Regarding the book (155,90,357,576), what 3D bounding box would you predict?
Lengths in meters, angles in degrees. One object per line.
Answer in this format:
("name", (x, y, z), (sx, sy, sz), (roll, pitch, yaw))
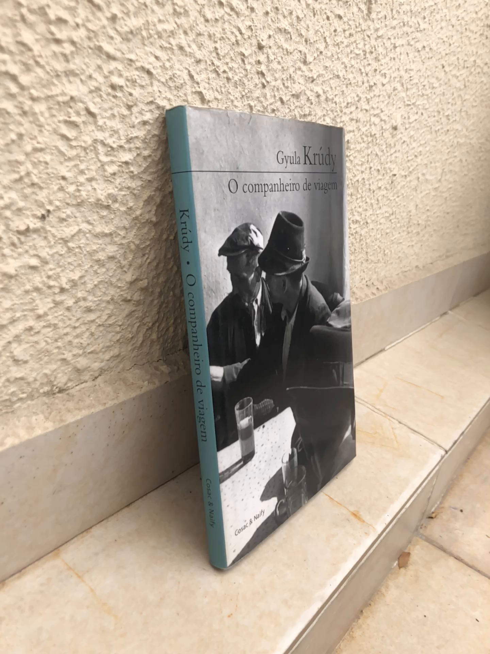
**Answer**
("book", (0.018, -0.003, 0.284), (0.019, 0.205, 0.138), (4, 14, 36))
